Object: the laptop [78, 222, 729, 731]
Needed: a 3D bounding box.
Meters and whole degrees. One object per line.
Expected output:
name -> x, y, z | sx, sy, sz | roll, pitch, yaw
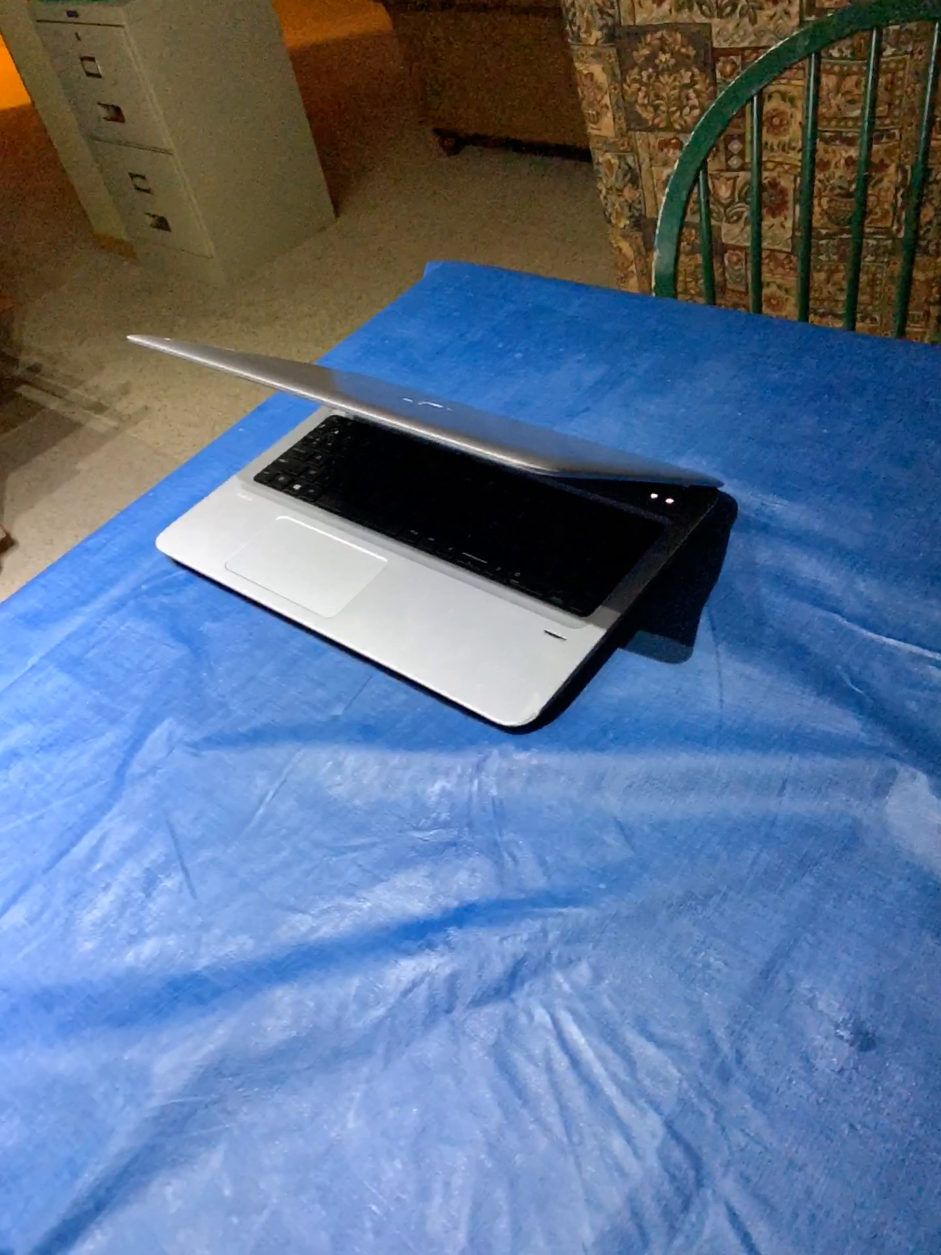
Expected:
laptop -> -0.044, -0.136, 0.684 | 0.366, 0.156, 0.254 | 24, 57, 33
